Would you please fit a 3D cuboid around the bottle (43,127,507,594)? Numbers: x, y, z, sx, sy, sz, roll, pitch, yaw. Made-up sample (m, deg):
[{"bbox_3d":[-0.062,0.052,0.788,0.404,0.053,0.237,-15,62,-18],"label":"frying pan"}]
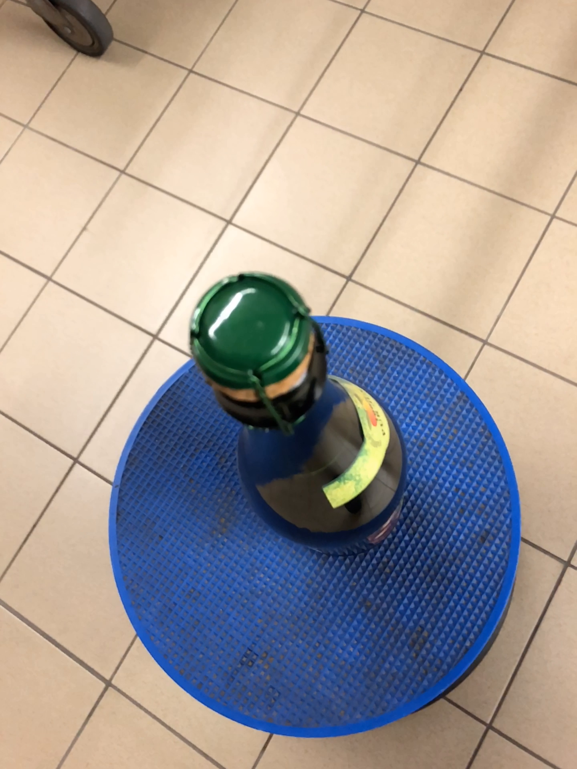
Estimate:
[{"bbox_3d":[0.014,0.030,0.280,0.090,0.290,0.090,-3,74,9],"label":"bottle"}]
